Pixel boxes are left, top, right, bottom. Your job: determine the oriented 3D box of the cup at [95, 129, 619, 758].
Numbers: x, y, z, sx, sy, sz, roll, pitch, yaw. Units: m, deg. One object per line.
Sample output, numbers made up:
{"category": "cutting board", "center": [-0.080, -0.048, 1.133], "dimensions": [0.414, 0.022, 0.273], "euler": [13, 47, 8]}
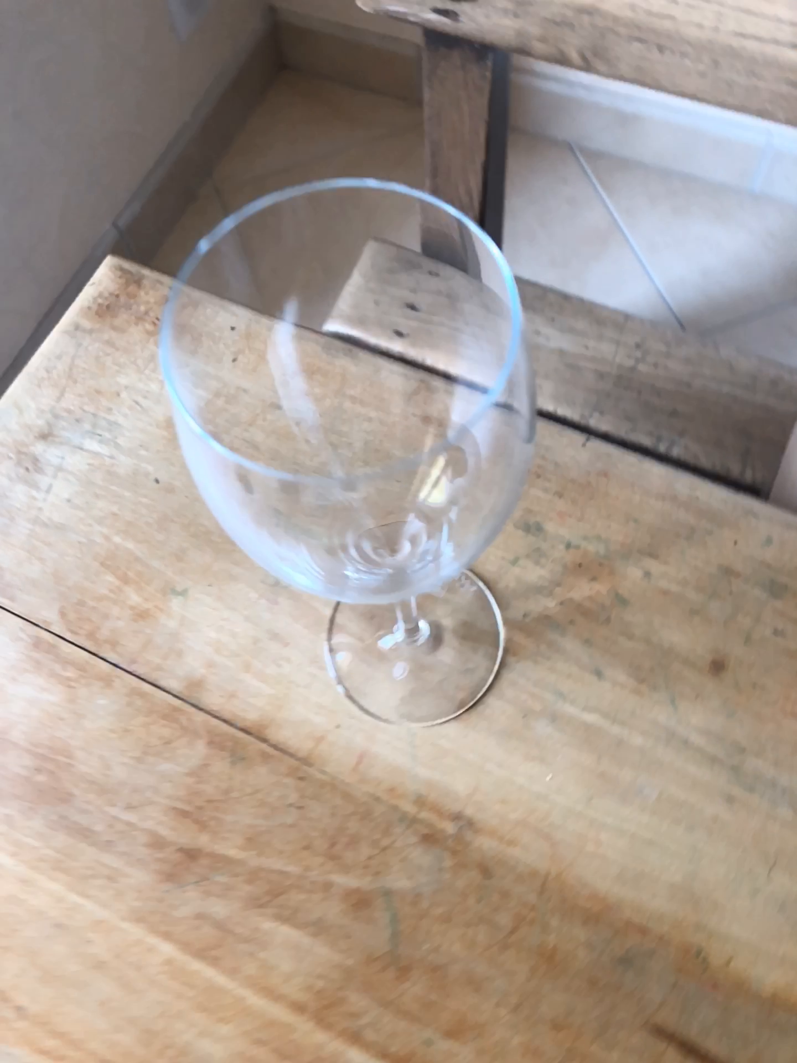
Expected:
{"category": "cup", "center": [0.004, 0.003, 0.245], "dimensions": [0.080, 0.210, 0.080], "euler": [-2, 67, 4]}
